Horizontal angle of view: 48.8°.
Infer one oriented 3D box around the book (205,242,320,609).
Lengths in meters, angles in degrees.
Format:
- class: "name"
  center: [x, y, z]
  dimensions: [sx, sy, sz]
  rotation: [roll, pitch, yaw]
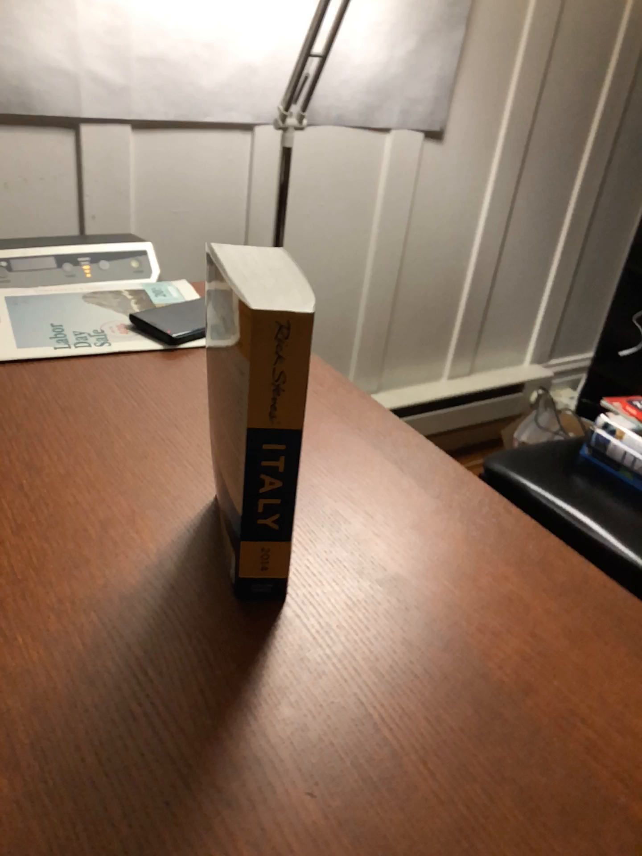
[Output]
- class: "book"
  center: [-0.043, -0.004, 0.465]
  dimensions: [0.050, 0.199, 0.131]
  rotation: [-4, 31, -12]
